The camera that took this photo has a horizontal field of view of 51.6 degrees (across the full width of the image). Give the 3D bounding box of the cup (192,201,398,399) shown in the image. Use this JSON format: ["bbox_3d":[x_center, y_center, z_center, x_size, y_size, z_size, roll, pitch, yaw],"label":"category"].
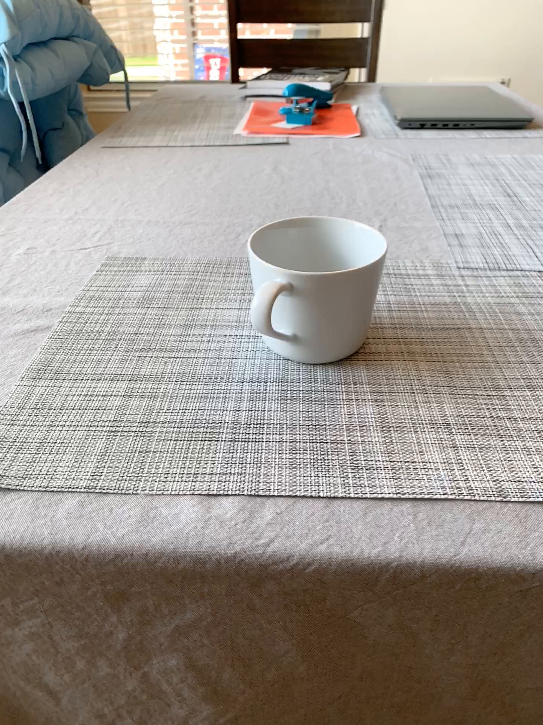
[{"bbox_3d":[0.021,-0.053,0.413,0.100,0.081,0.122,16,38,23],"label":"cup"}]
